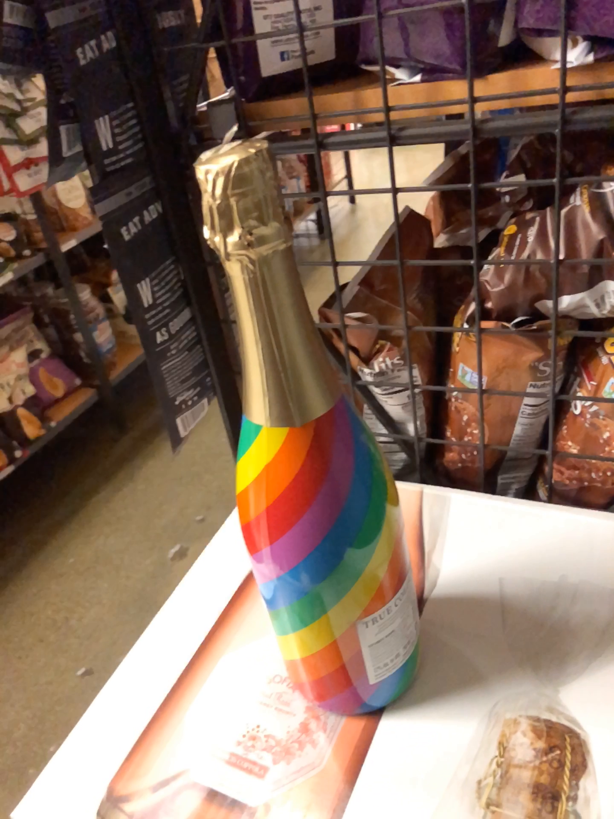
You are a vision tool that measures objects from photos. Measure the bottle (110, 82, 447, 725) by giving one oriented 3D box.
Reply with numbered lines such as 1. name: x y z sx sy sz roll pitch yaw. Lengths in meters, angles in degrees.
1. bottle: 0.008 0.016 0.354 0.088 0.319 0.088 -8 32 5
